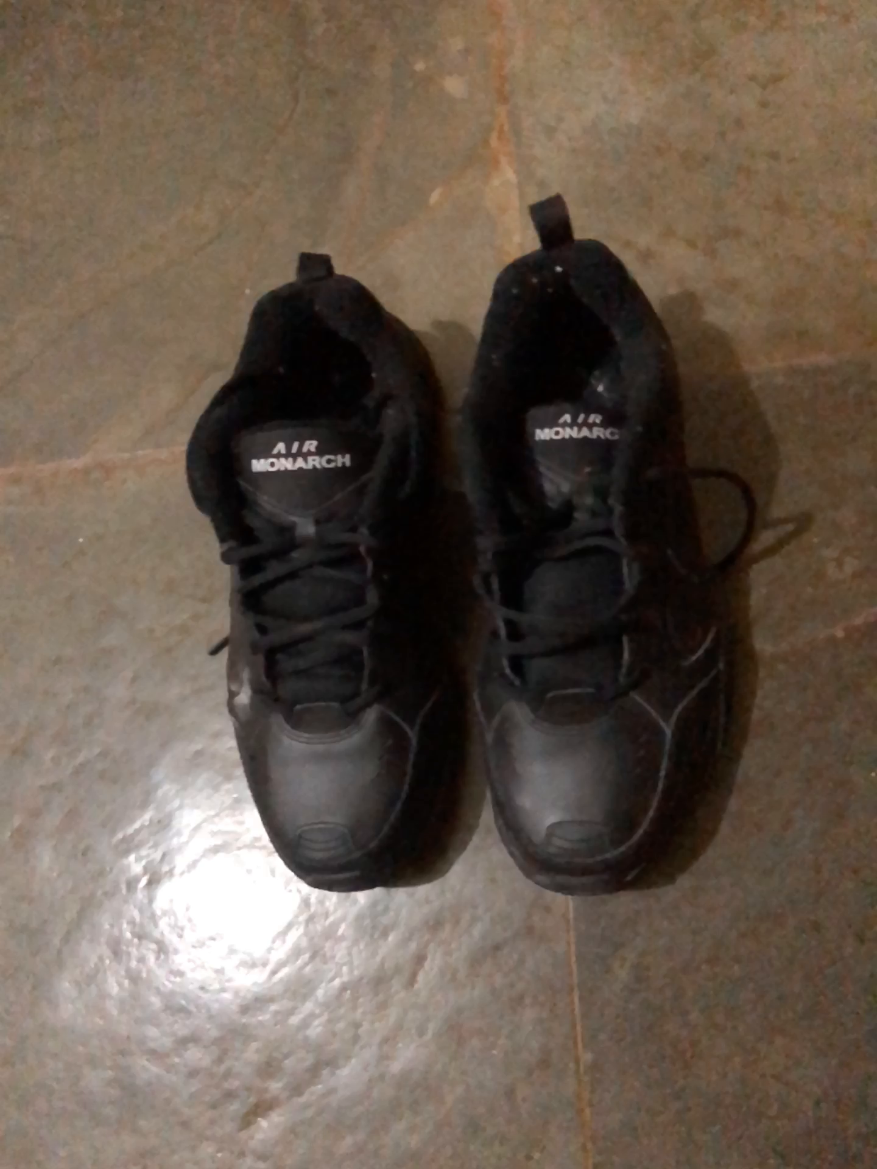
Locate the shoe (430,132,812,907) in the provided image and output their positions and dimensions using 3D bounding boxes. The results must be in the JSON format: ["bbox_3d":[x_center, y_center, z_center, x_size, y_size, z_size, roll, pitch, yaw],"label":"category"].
[{"bbox_3d":[0.069,-0.023,0.417,0.120,0.110,0.301,-4,73,10],"label":"shoe"}]

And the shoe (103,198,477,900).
[{"bbox_3d":[-0.058,-0.010,0.434,0.120,0.110,0.281,-6,73,10],"label":"shoe"}]
